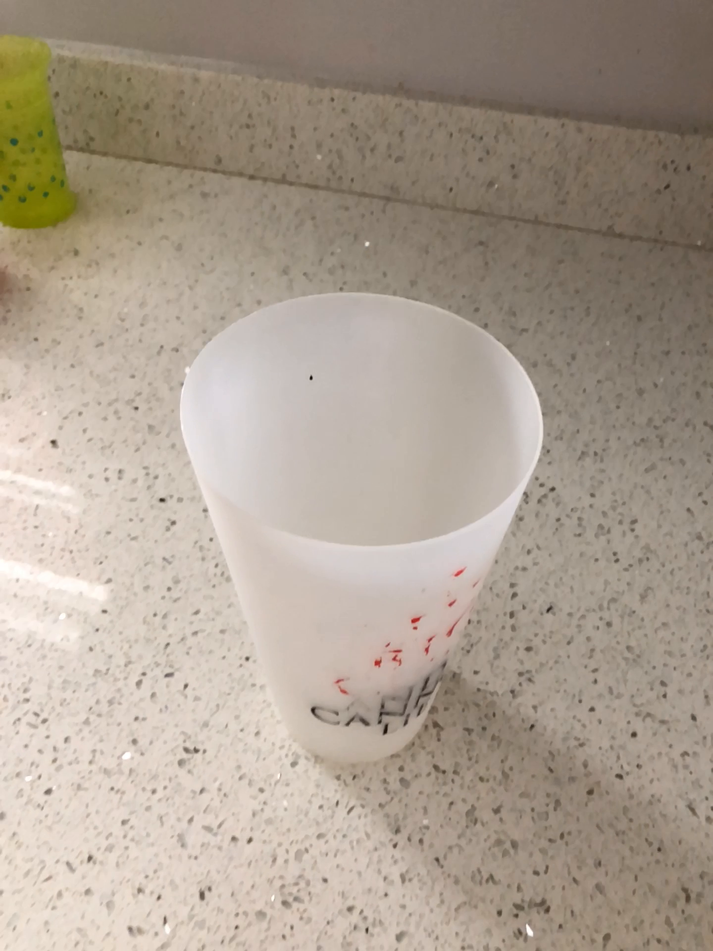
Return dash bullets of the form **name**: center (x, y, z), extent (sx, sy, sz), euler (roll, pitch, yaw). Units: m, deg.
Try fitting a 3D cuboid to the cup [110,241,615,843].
- **cup**: center (-0.001, 0.030, 0.269), extent (0.096, 0.166, 0.094), euler (0, 49, 0)
